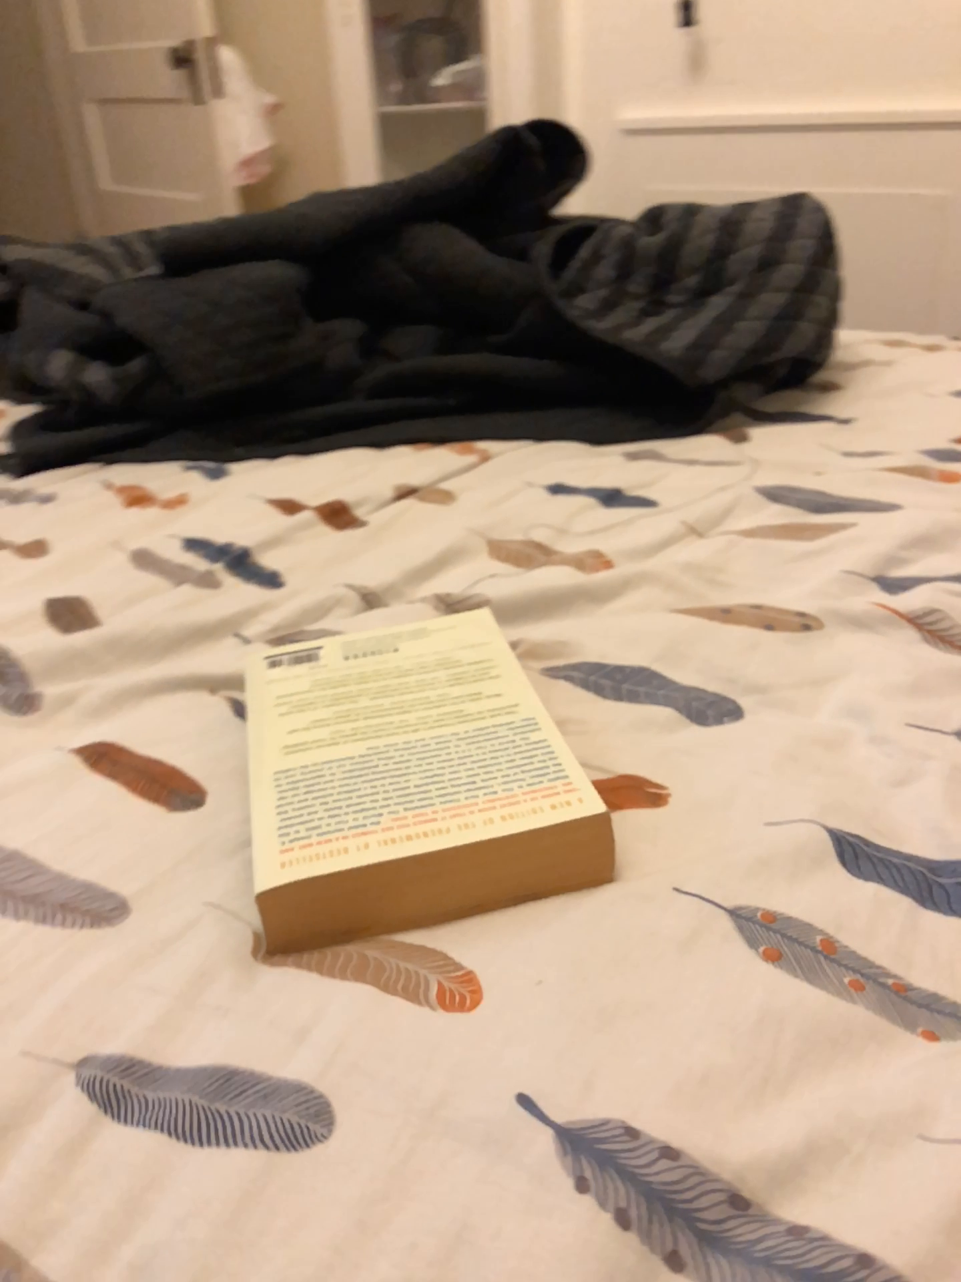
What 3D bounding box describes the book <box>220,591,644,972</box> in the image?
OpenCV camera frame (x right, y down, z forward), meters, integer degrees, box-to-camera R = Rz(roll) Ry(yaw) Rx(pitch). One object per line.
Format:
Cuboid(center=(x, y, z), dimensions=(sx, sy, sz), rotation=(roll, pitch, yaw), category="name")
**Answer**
Cuboid(center=(-0.037, 0.047, 0.500), dimensions=(0.150, 0.040, 0.221), rotation=(-8, 28, -13), category="book")
